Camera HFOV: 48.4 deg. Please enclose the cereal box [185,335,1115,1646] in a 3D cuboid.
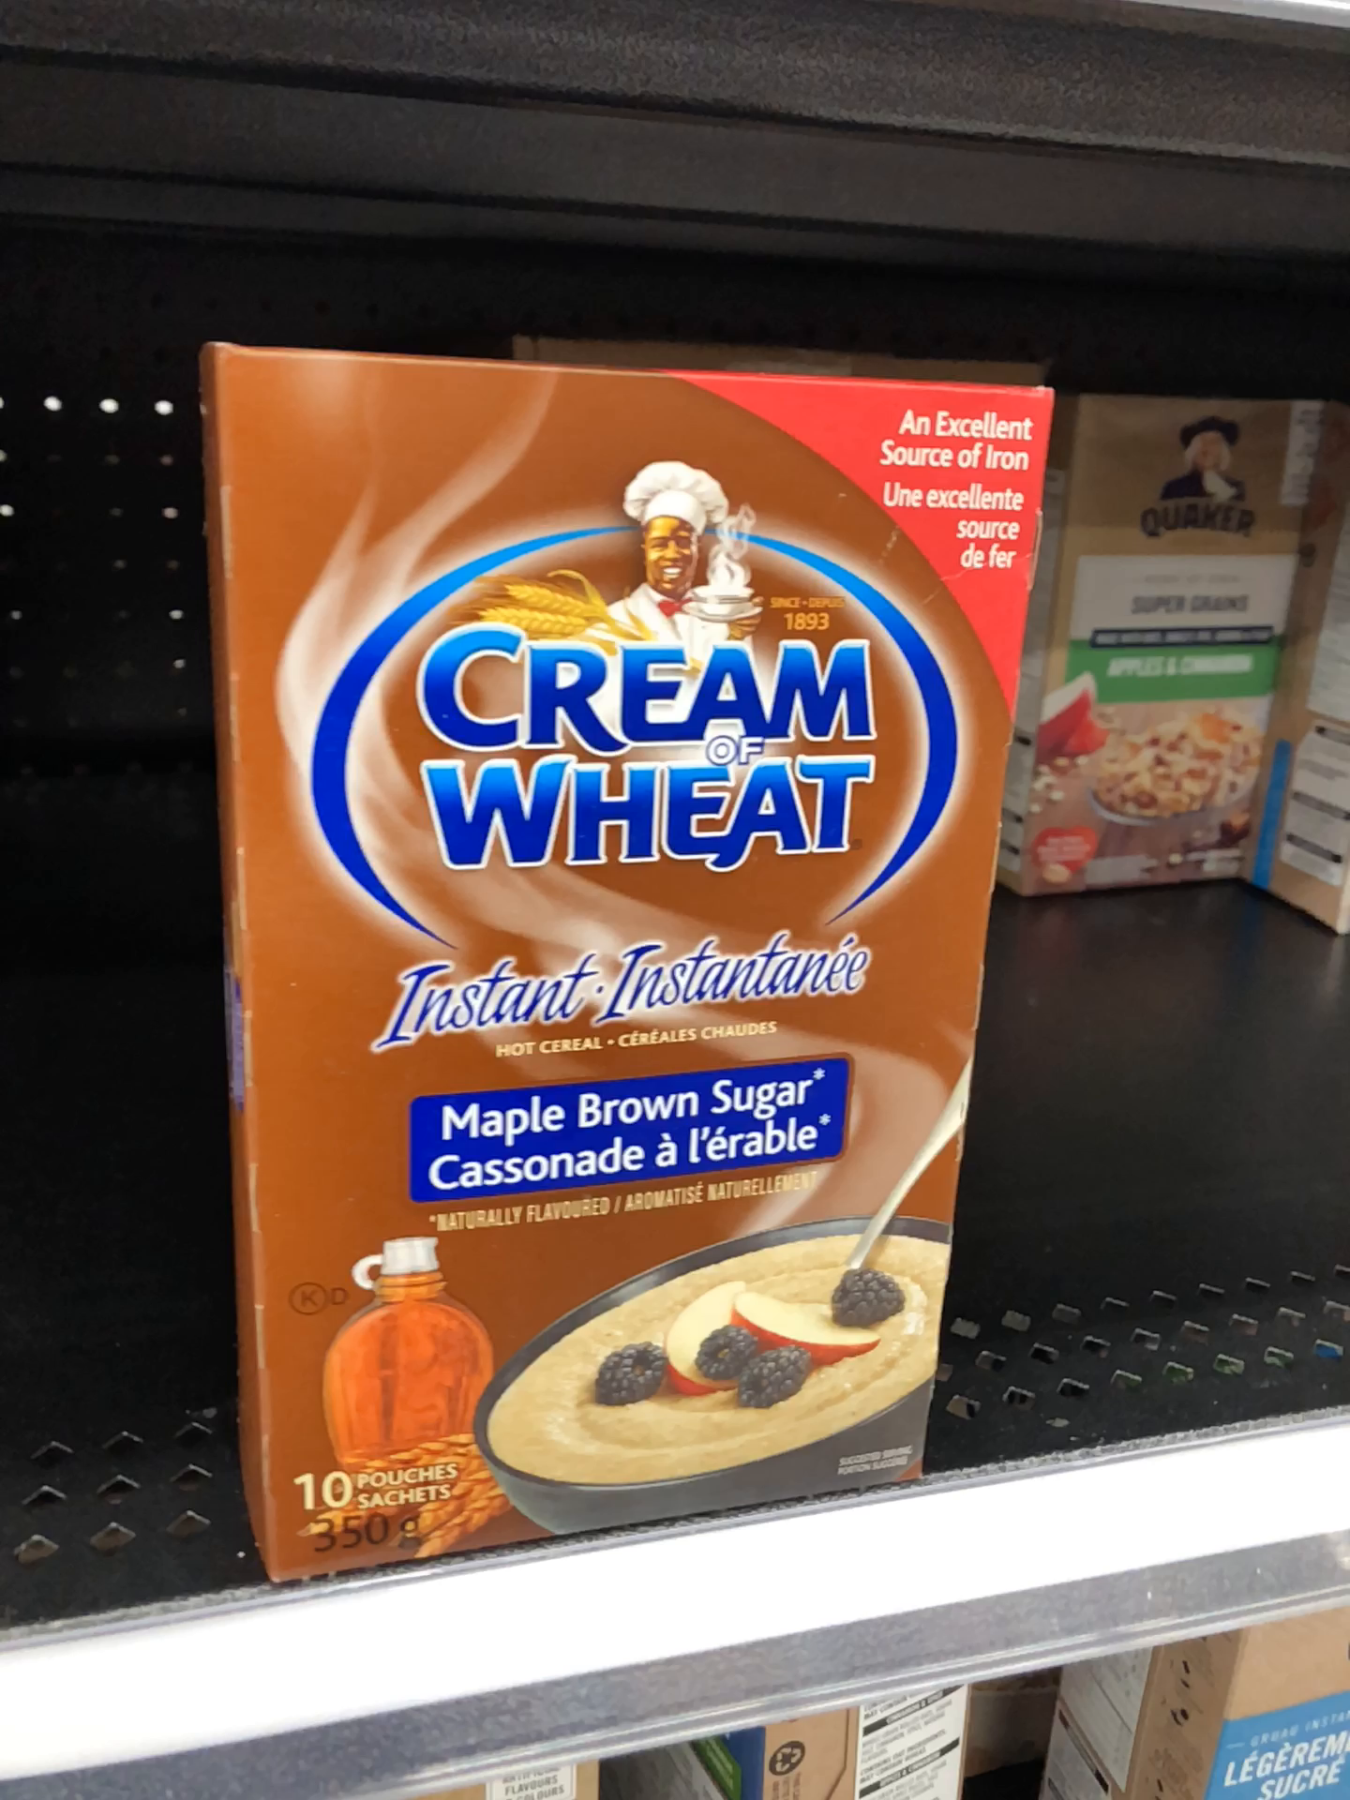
[{"bbox_3d":[-0.010,0.015,0.265,0.130,0.209,0.060,-3,20,-15],"label":"cereal box"}]
